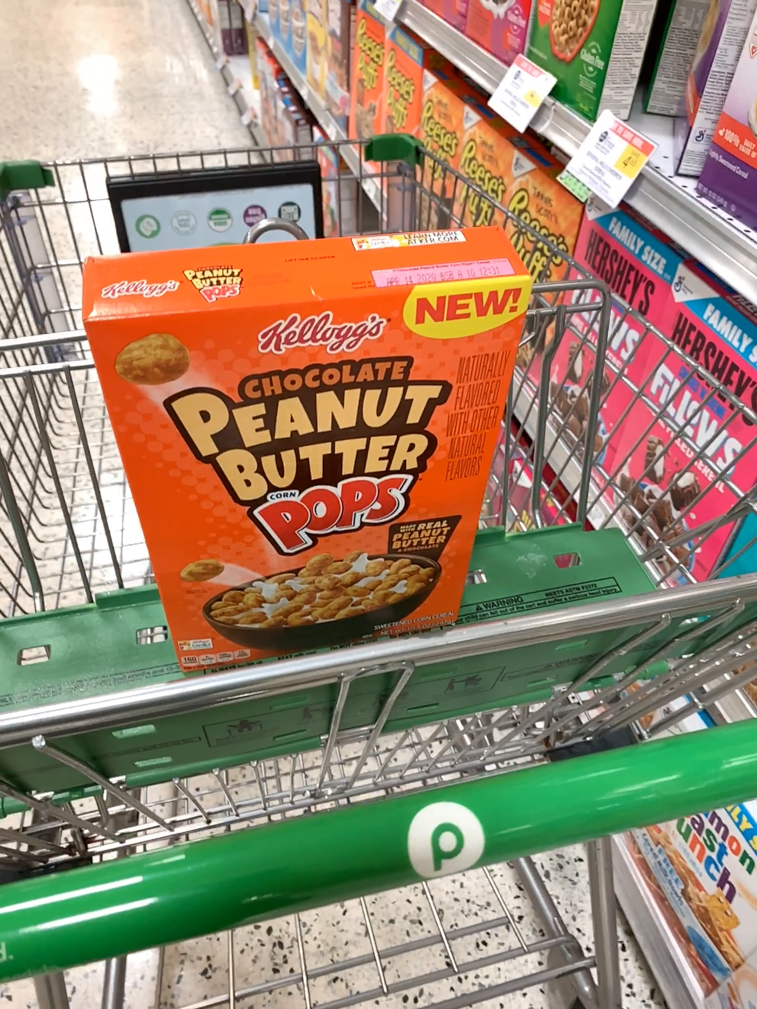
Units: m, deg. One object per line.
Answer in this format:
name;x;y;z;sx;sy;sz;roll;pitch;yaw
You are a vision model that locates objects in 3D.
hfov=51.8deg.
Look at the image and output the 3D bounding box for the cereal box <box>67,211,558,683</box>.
cereal box;-0.034;-0.010;0.438;0.200;0.287;0.050;-8;50;-11
